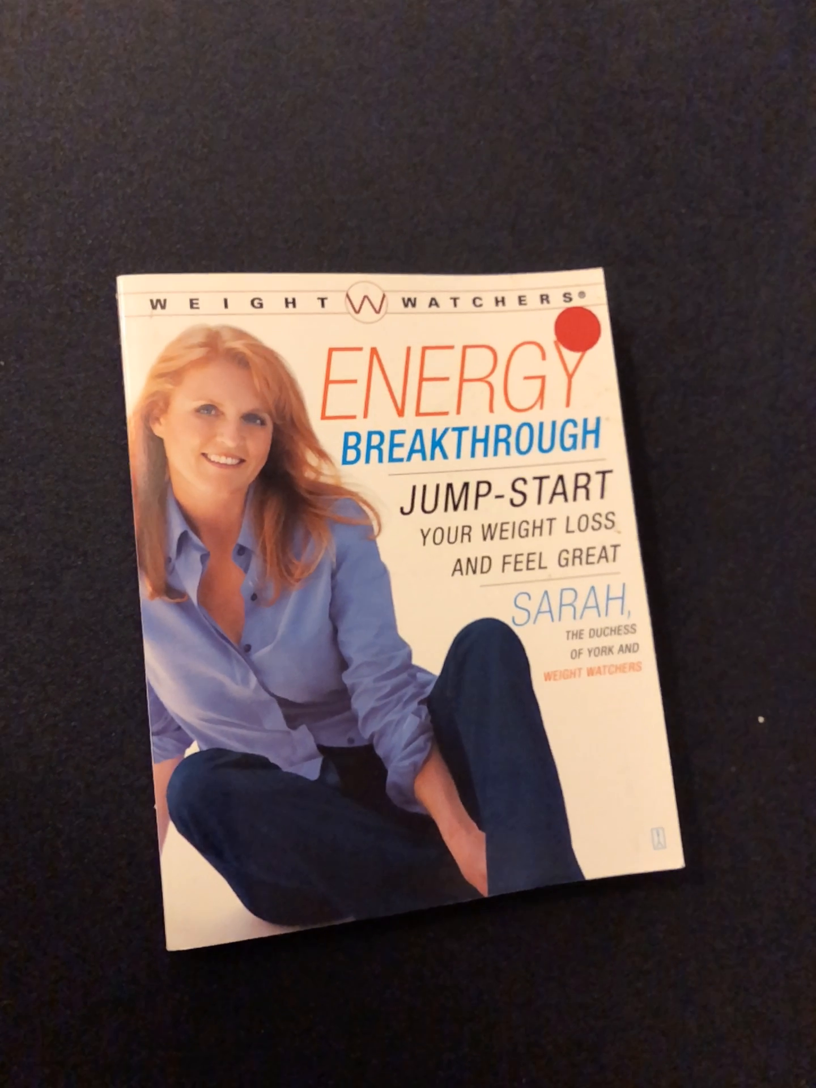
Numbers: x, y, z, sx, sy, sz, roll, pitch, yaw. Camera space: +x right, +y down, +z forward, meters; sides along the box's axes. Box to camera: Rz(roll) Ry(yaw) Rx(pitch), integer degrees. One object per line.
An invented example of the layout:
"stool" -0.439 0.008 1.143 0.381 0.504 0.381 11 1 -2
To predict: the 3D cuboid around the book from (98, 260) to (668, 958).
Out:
"book" -0.010 0.011 0.339 0.185 0.030 0.234 -4 83 -14
